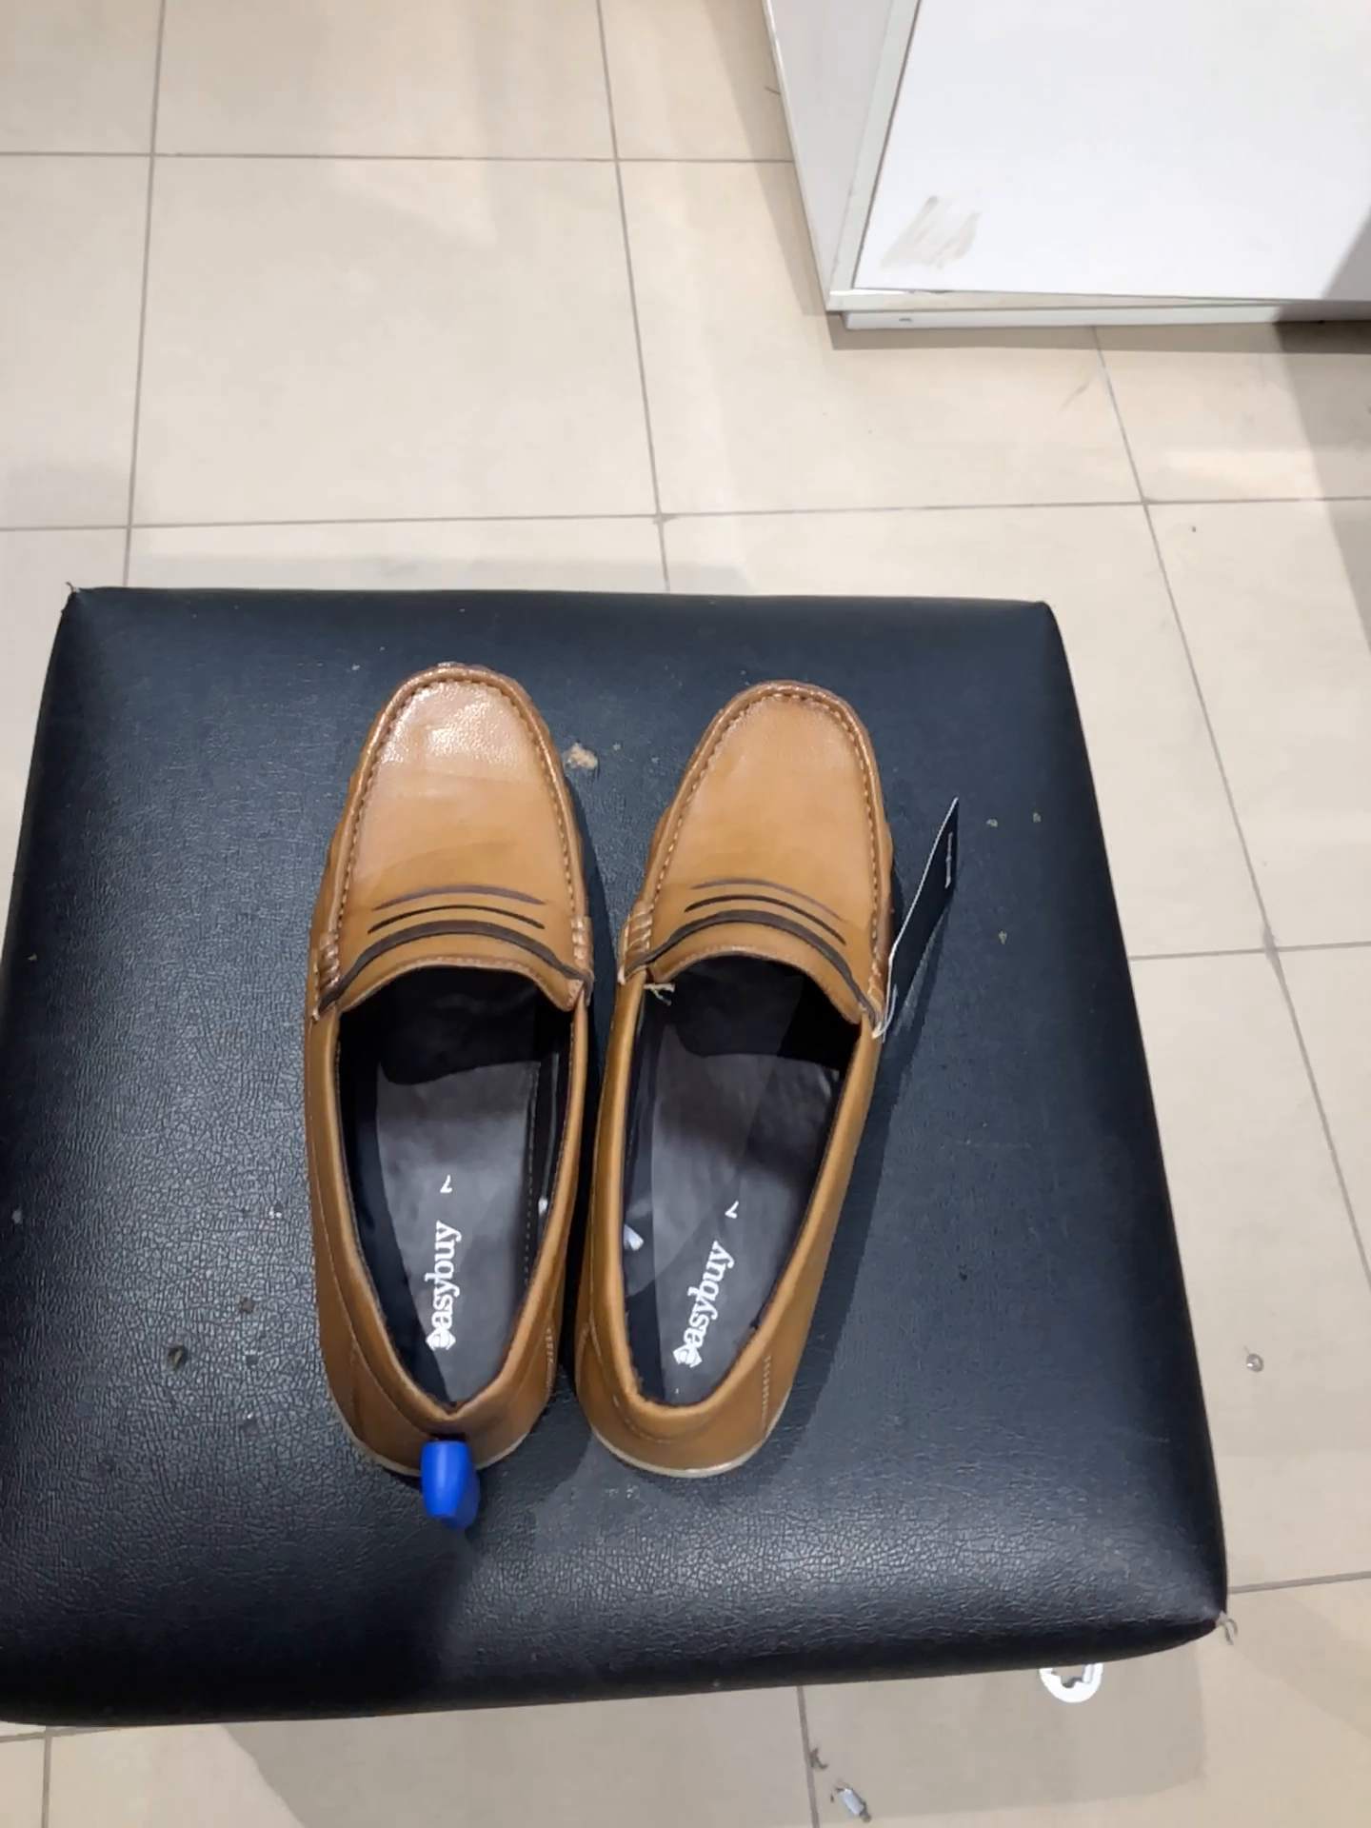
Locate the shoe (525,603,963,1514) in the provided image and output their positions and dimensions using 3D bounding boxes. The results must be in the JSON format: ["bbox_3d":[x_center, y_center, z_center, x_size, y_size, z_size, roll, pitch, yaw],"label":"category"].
[{"bbox_3d":[0.023,0.042,0.498,0.098,0.088,0.274,10,64,-1],"label":"shoe"}]

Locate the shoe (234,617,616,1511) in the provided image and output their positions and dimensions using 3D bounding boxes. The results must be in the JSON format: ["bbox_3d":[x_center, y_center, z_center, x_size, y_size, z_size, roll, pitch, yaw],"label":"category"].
[{"bbox_3d":[-0.075,0.043,0.491,0.098,0.088,0.274,1,64,-5],"label":"shoe"}]
